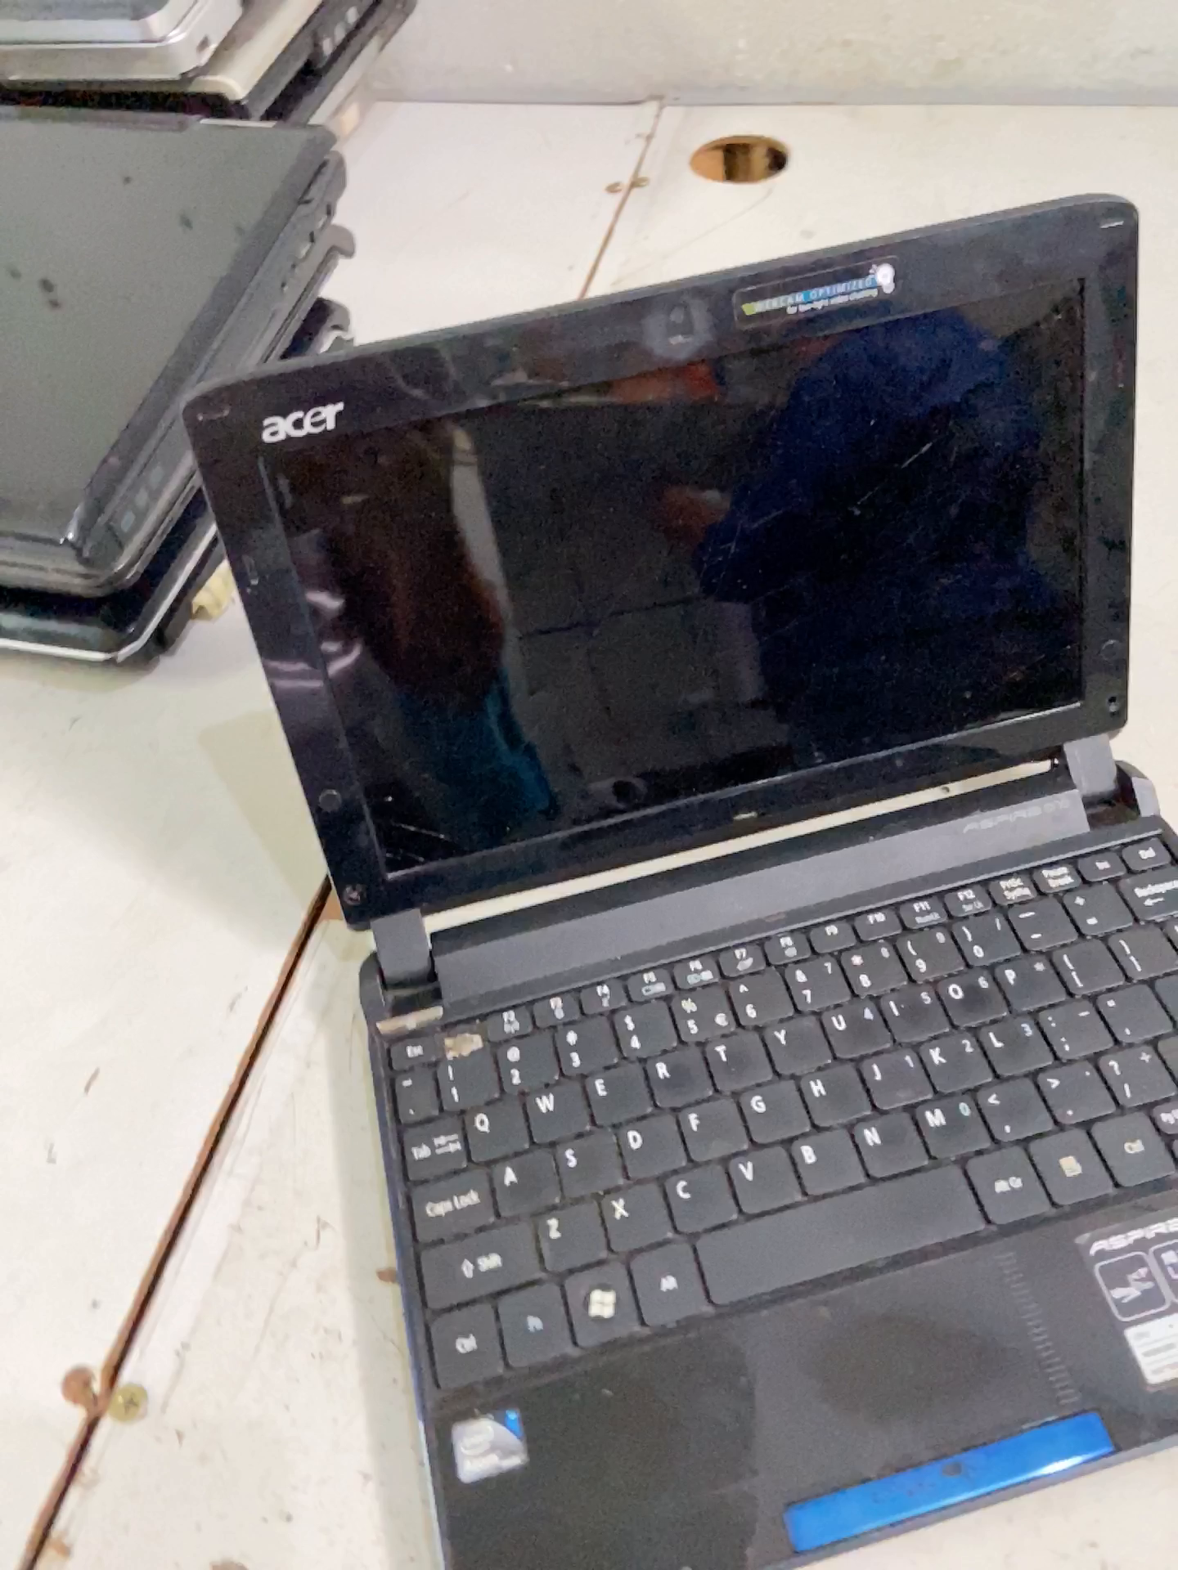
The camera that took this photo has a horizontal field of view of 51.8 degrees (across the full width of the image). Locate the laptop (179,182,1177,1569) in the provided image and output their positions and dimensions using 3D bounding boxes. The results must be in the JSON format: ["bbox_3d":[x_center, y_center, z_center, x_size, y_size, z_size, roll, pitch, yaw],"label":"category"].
[{"bbox_3d":[0.058,0.014,0.292,0.252,0.144,0.260,-14,53,-4],"label":"laptop"}]
